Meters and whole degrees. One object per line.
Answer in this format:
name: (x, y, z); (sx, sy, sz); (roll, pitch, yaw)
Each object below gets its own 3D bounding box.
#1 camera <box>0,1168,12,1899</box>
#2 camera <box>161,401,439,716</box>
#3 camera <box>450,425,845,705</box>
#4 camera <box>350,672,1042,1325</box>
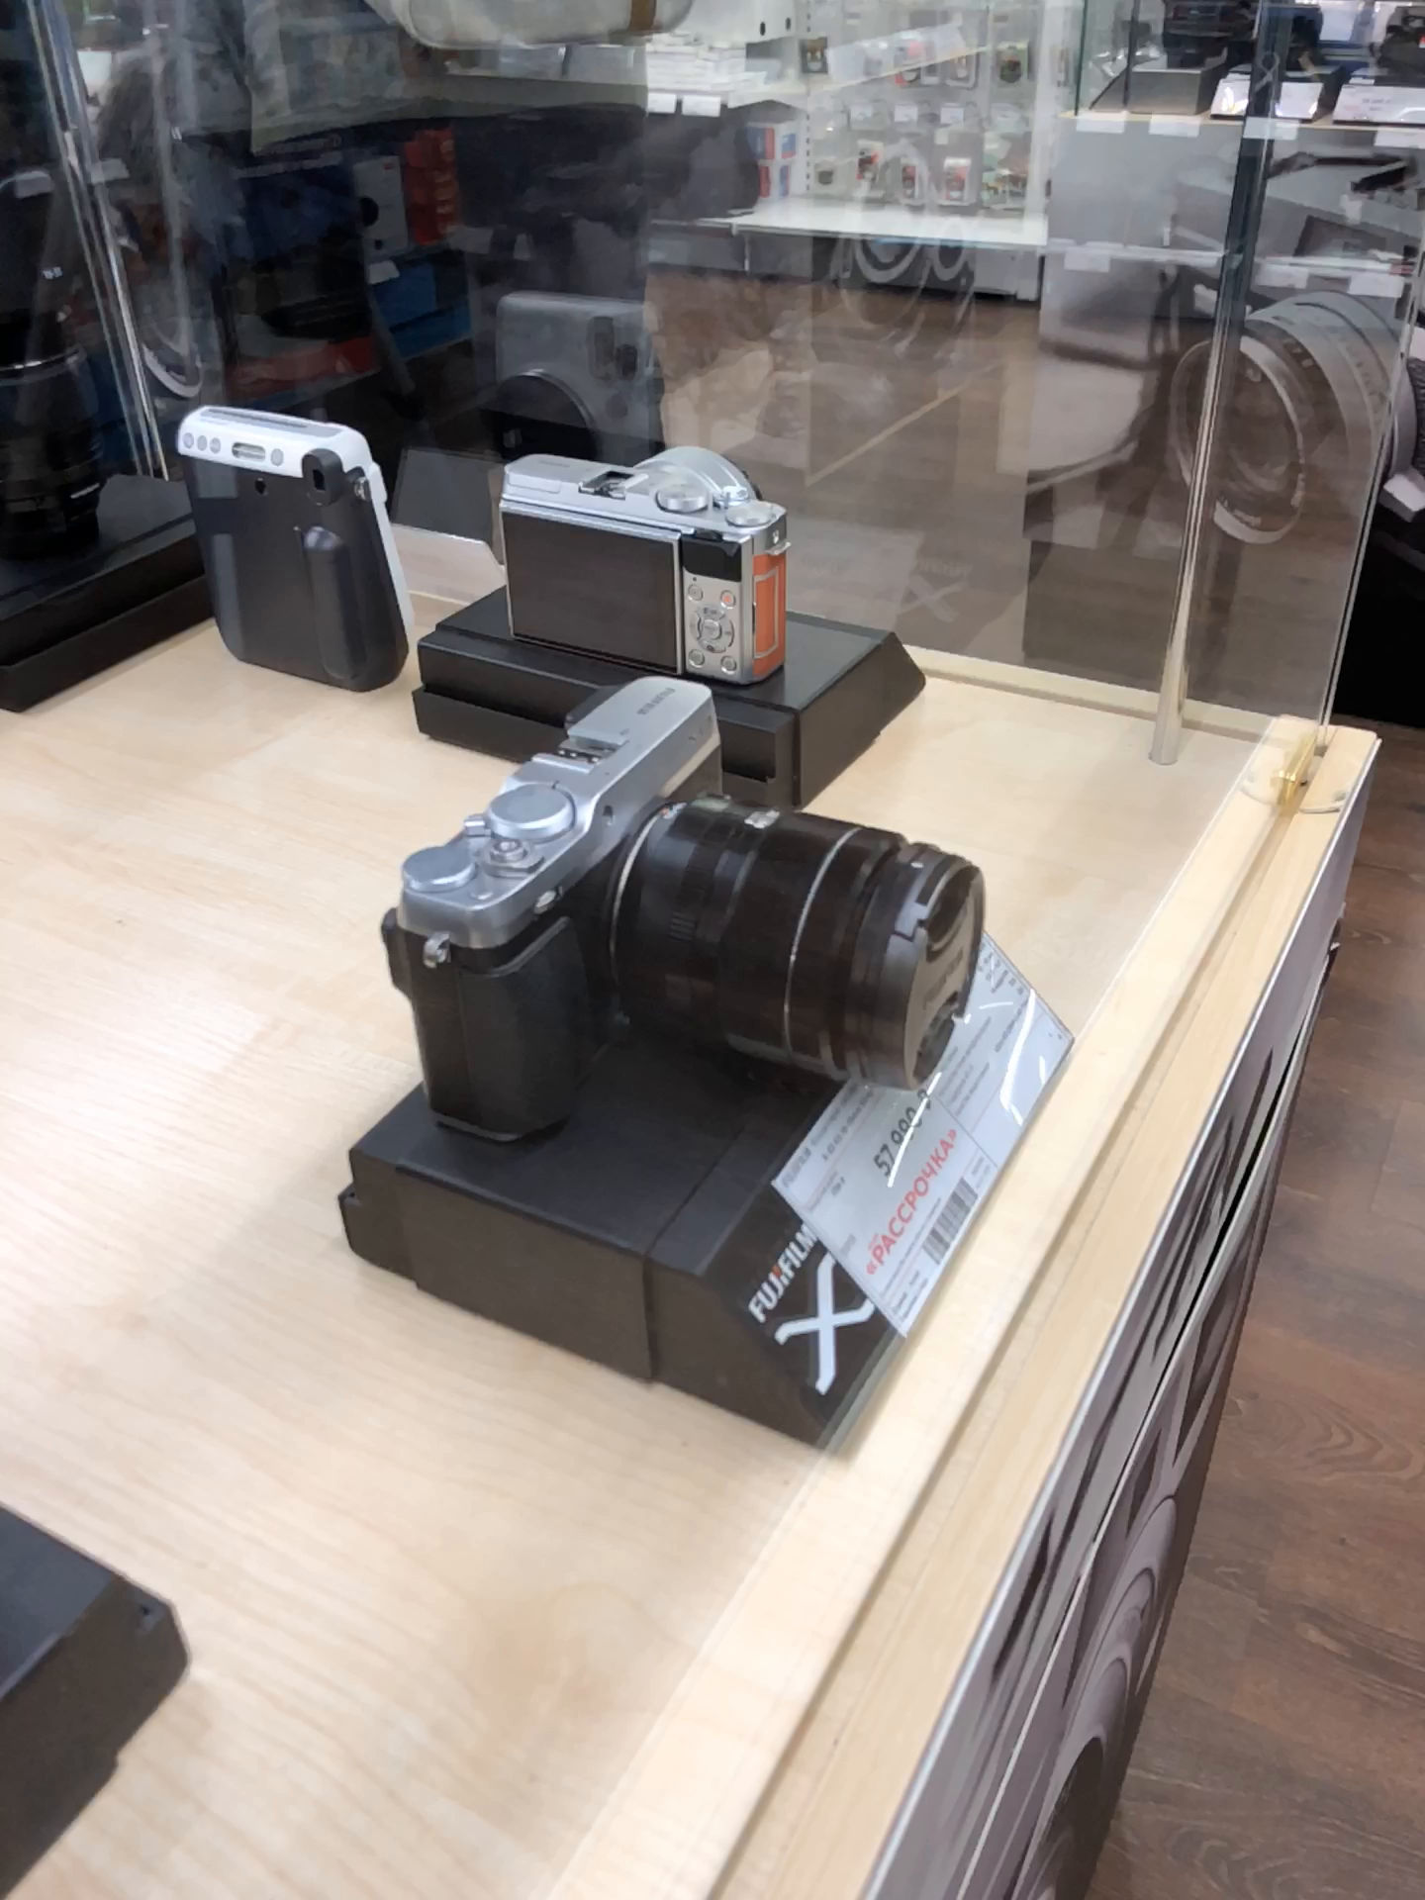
camera: (-0.203, 0.105, 0.261); (0.131, 0.068, 0.077); (15, 38, 24)
camera: (-0.173, -0.167, 0.666); (0.088, 0.109, 0.045); (17, 41, 26)
camera: (-0.024, -0.156, 0.621); (0.131, 0.068, 0.077); (17, 38, 25)
camera: (0.003, 0.002, 0.393); (0.115, 0.080, 0.132); (15, 38, 24)
